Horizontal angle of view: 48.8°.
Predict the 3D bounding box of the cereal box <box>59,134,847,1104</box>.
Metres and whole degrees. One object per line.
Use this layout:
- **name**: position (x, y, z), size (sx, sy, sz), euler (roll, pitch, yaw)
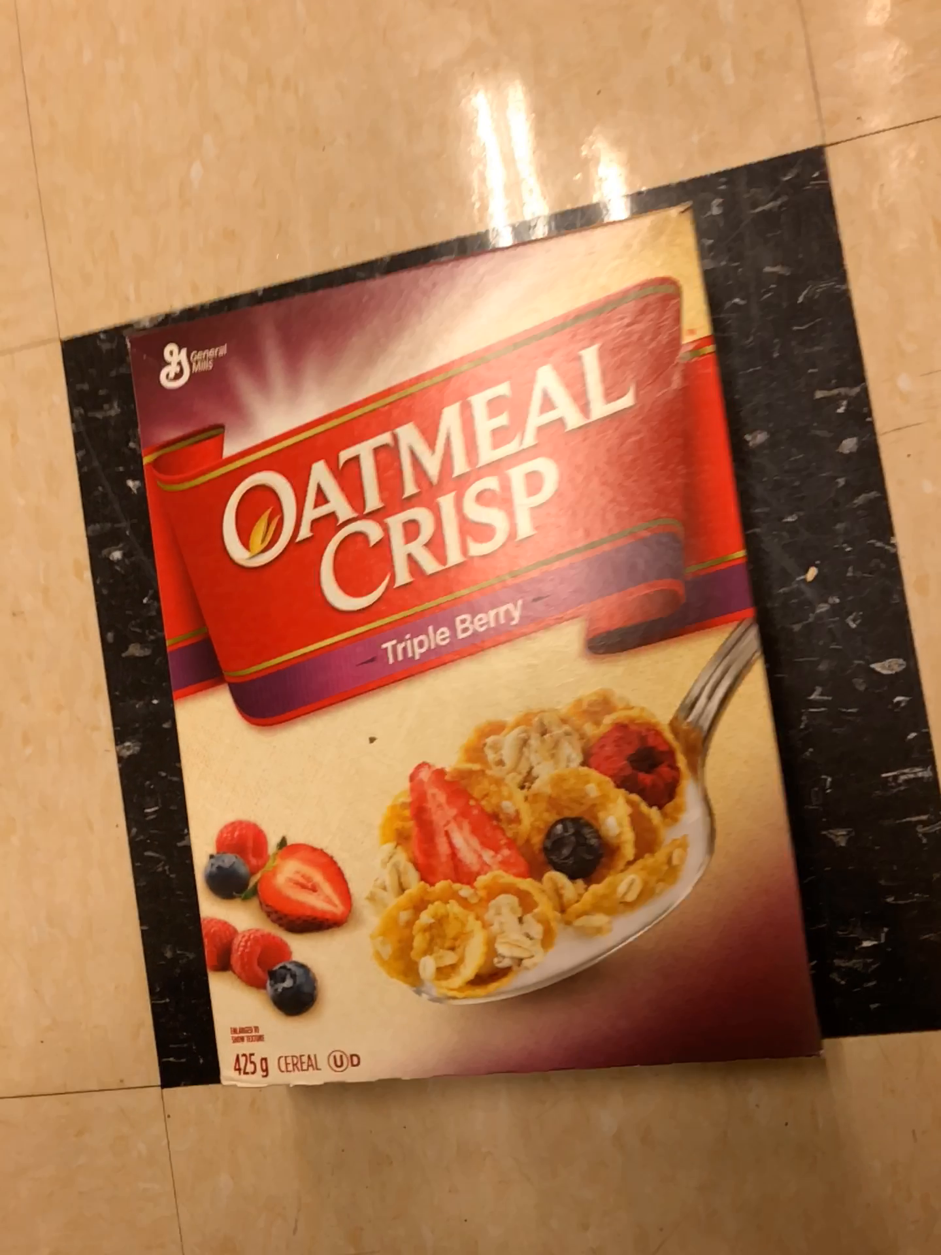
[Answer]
- **cereal box**: position (-0.009, 0.005, 0.331), size (0.200, 0.070, 0.250), euler (-9, 85, 14)
